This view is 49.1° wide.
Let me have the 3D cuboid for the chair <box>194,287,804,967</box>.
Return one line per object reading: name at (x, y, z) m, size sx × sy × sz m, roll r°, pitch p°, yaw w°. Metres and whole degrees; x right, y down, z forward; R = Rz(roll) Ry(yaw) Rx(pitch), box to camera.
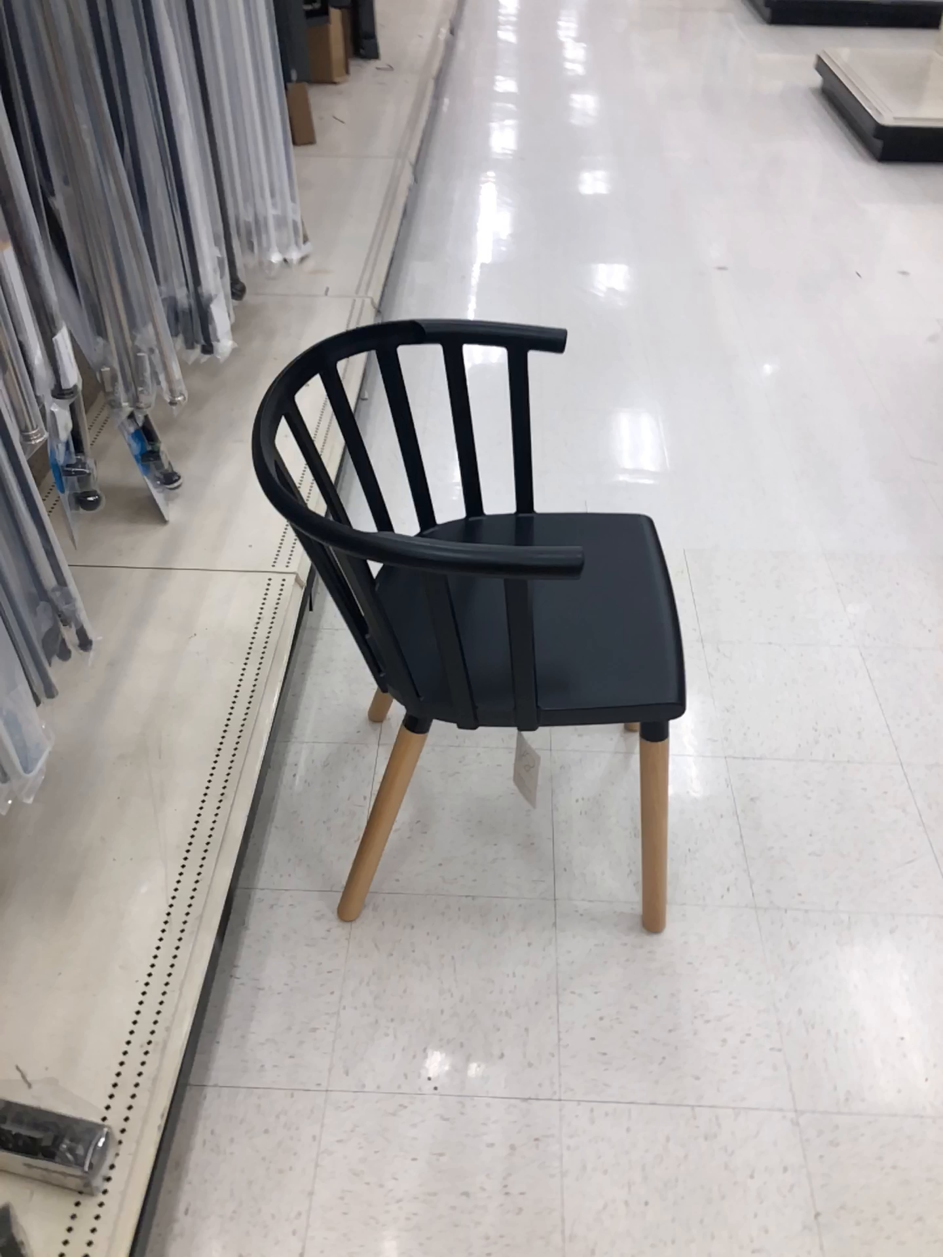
chair at (0.032, 0.007, 1.401) m, size 0.567 × 0.731 × 0.537 m, roll 2°, pitch 41°, yaw 2°
